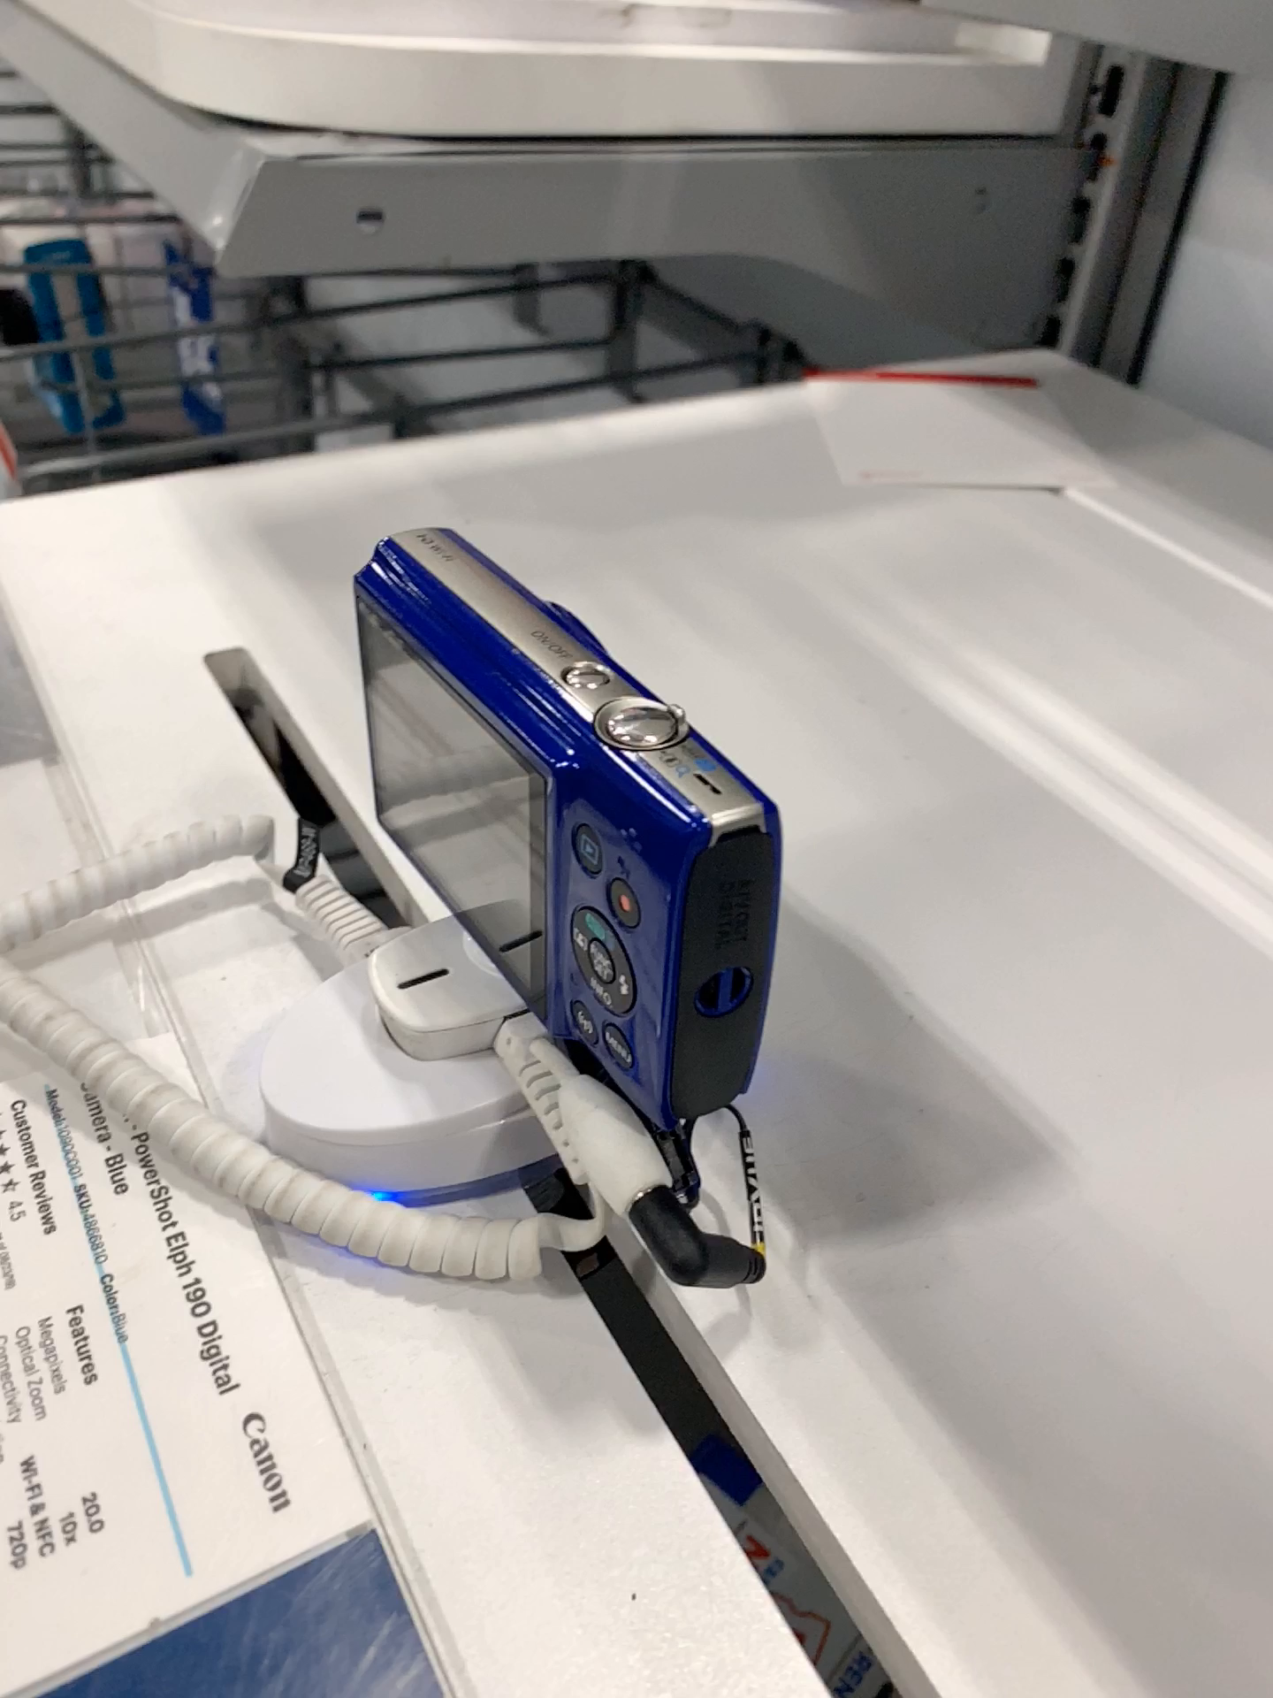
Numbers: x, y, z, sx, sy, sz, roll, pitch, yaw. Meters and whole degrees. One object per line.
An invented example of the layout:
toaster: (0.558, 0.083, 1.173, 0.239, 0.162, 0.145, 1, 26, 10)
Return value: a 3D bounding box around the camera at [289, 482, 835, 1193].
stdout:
camera: (-0.016, -0.006, 0.205, 0.027, 0.060, 0.100, -23, 46, -26)
